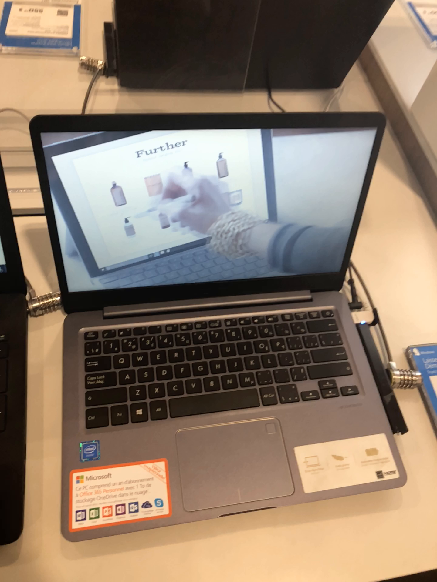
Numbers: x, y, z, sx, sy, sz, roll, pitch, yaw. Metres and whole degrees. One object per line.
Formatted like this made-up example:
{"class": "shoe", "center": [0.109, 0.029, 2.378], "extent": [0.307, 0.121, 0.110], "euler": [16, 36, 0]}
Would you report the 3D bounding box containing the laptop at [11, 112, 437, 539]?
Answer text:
{"class": "laptop", "center": [0.016, 0.022, 0.431], "extent": [0.316, 0.197, 0.292], "euler": [-5, 59, -11]}
